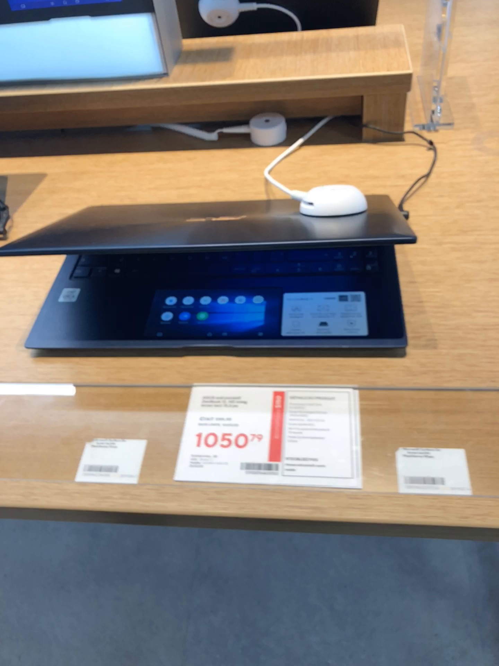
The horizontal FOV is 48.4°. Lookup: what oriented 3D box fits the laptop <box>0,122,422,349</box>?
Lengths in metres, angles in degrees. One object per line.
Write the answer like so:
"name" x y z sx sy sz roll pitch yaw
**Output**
"laptop" -0.034 -0.097 0.531 0.352 0.098 0.209 0 47 7
